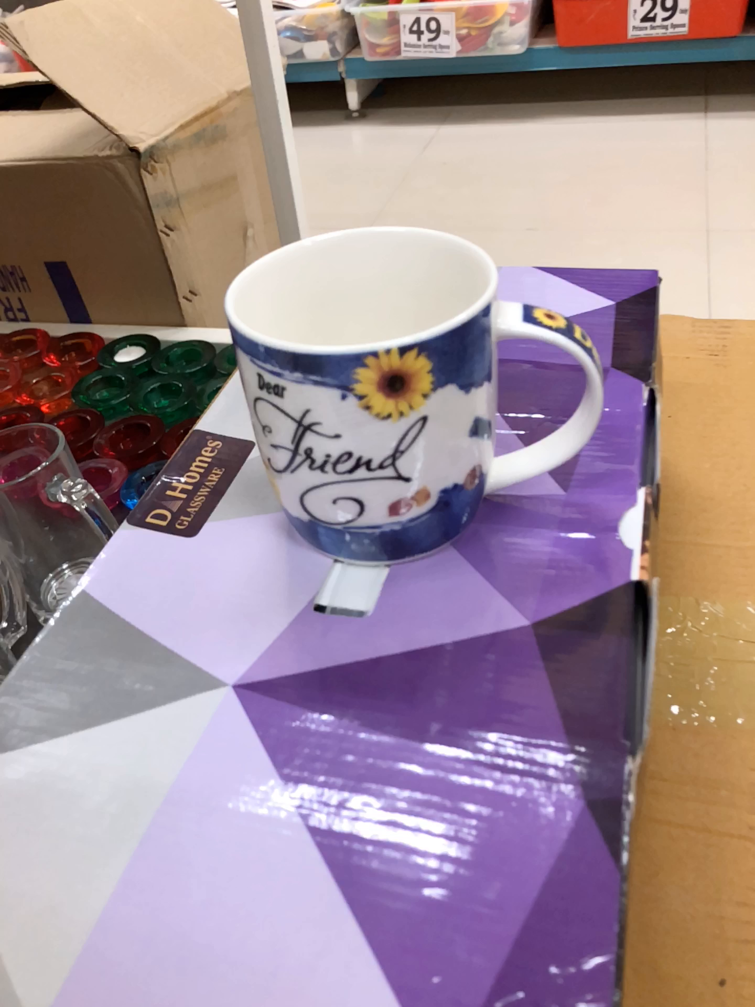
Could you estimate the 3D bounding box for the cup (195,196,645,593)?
[{"bbox_3d":[0.014,-0.037,0.280,0.120,0.089,0.081,-7,40,1],"label":"cup"}]
